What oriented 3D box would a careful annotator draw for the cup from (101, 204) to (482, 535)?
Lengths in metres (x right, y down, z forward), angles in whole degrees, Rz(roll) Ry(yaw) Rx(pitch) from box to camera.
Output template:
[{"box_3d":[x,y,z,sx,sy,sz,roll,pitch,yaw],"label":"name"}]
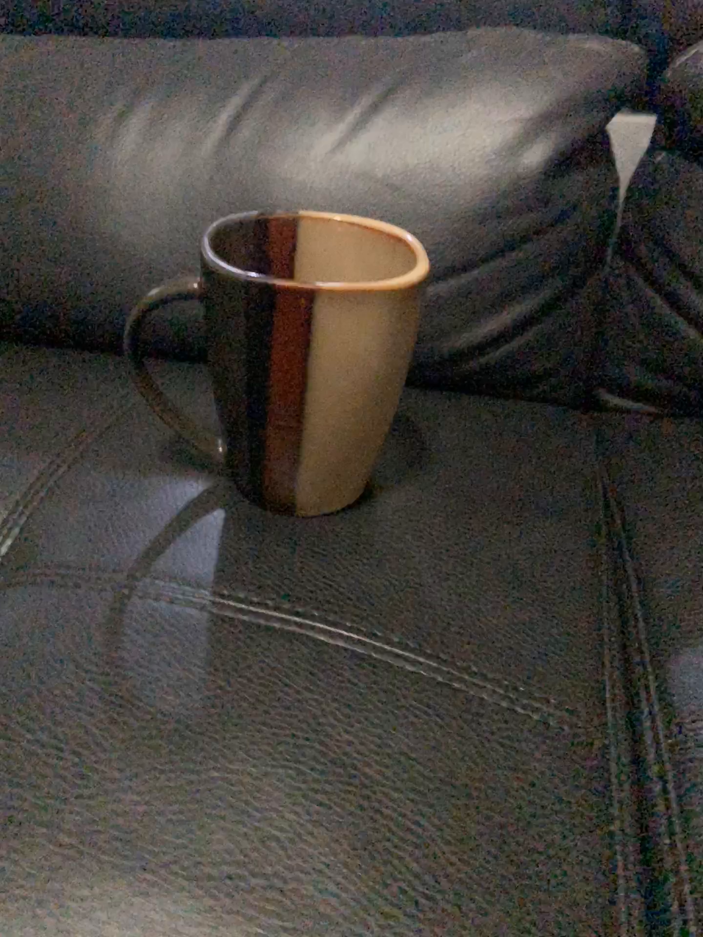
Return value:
[{"box_3d":[-0.025,-0.047,0.335,0.137,0.109,0.098,3,36,-2],"label":"cup"}]
